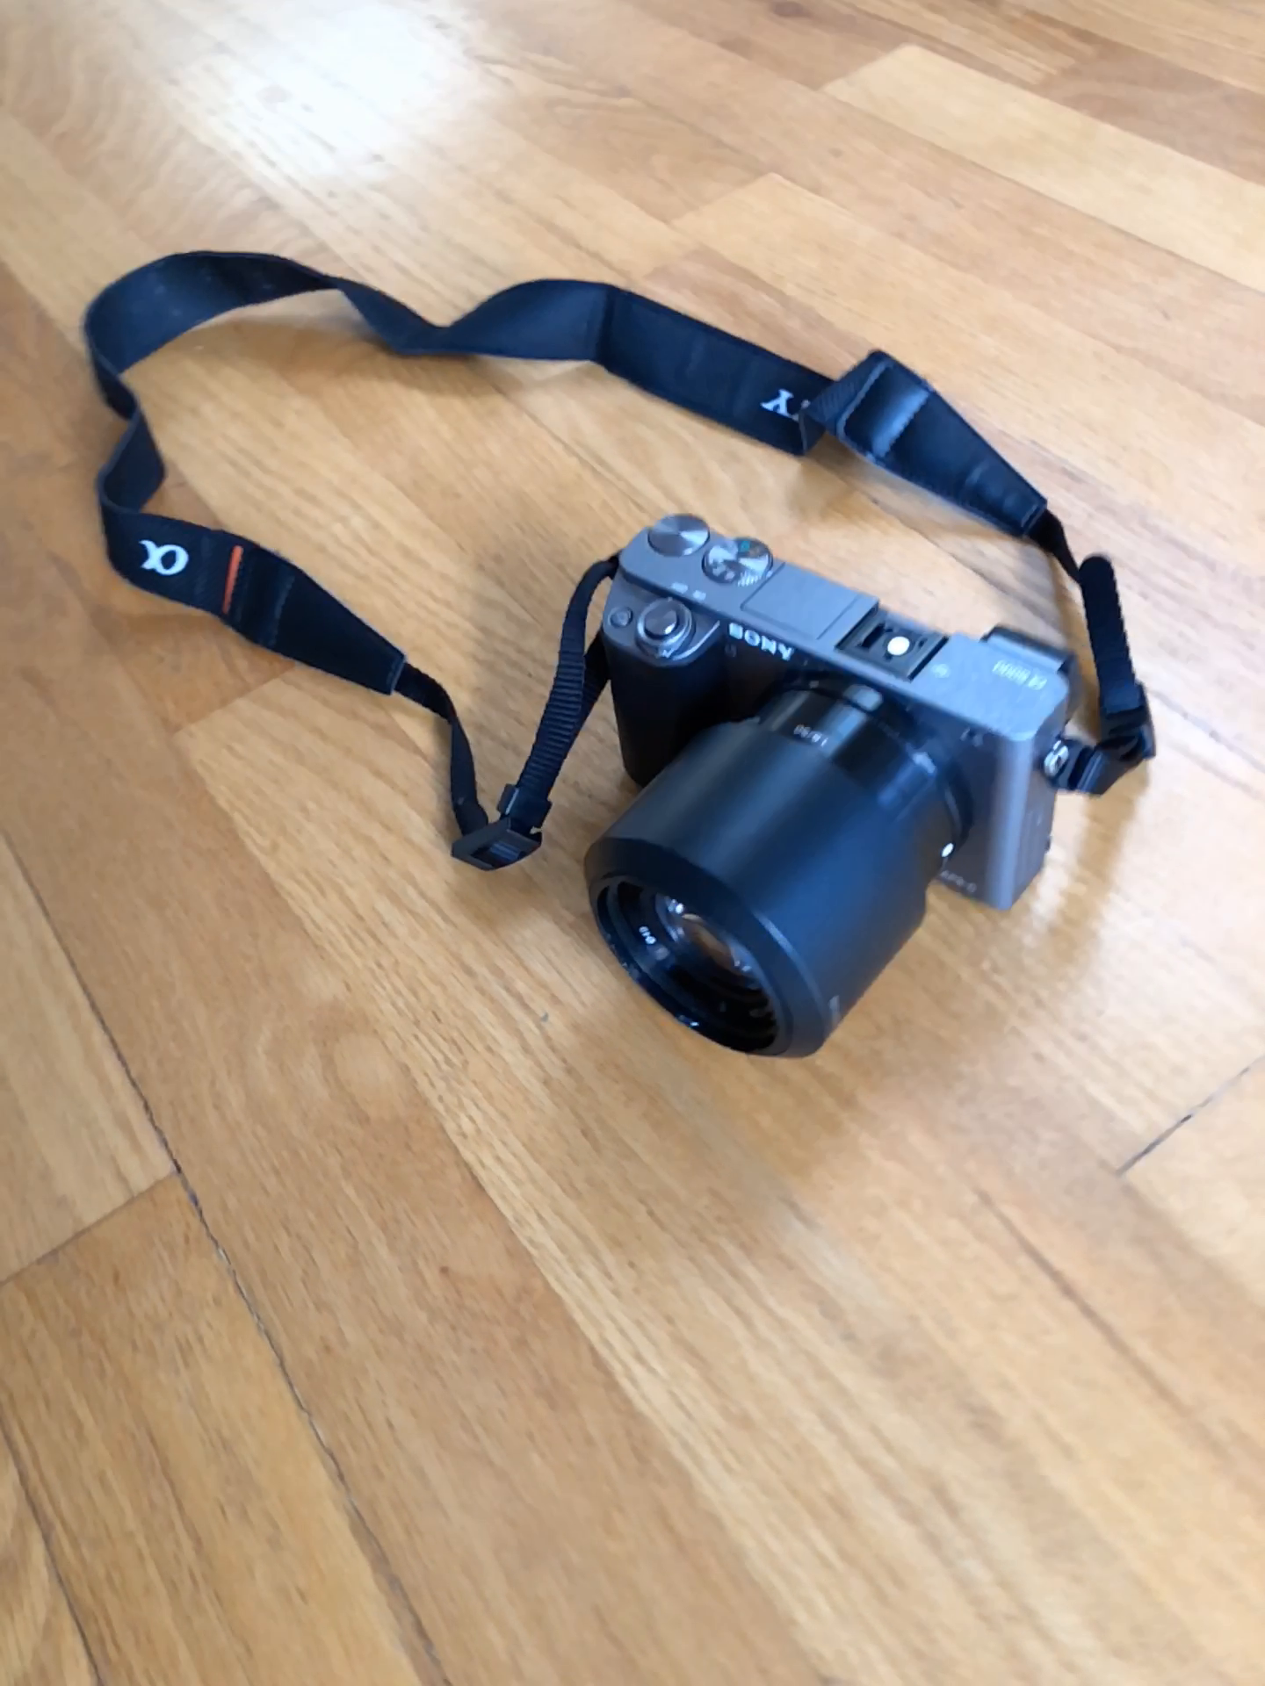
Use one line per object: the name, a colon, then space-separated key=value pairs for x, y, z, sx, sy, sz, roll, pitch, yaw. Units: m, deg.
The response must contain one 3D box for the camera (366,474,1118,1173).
camera: x=0.028 y=-0.011 z=0.350 sx=0.136 sy=0.079 sz=0.107 roll=28 pitch=60 yaw=28
